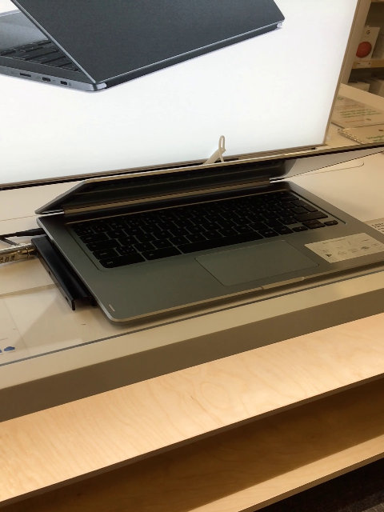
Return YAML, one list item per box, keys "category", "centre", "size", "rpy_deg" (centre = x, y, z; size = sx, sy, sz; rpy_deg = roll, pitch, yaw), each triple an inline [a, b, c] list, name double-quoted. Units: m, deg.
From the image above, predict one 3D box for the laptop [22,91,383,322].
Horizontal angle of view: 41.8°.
- category: "laptop"
  centre: [0.038, -0.076, 0.548]
  size: [0.348, 0.139, 0.221]
  rpy_deg: [-13, 38, -23]
